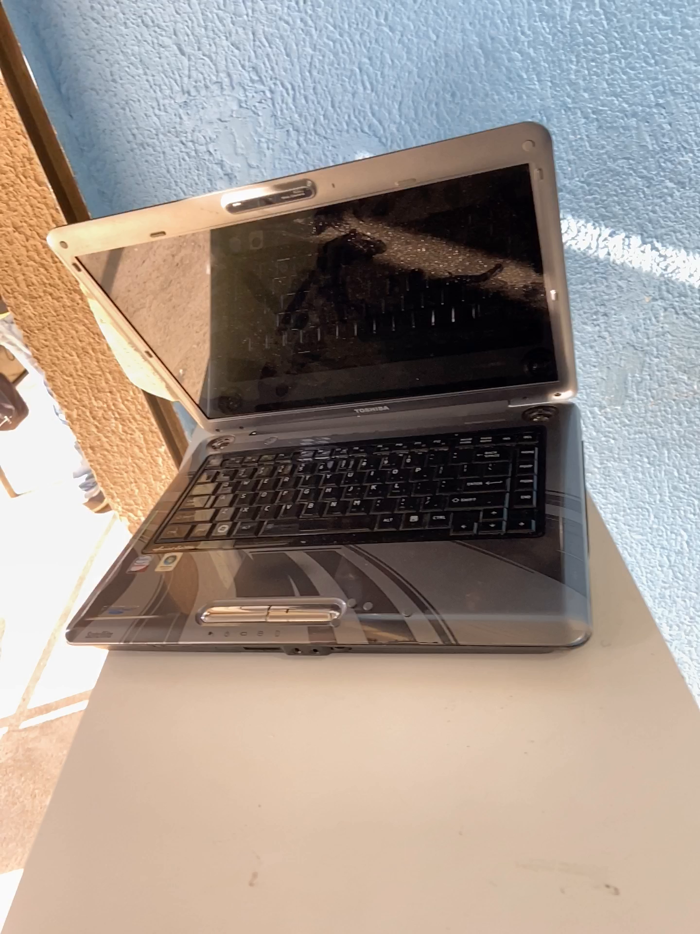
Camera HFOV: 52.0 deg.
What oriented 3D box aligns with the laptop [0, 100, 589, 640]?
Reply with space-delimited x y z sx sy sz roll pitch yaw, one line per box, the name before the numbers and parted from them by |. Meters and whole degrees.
laptop | -0.036 -0.064 0.499 0.358 0.235 0.260 -4 32 19
